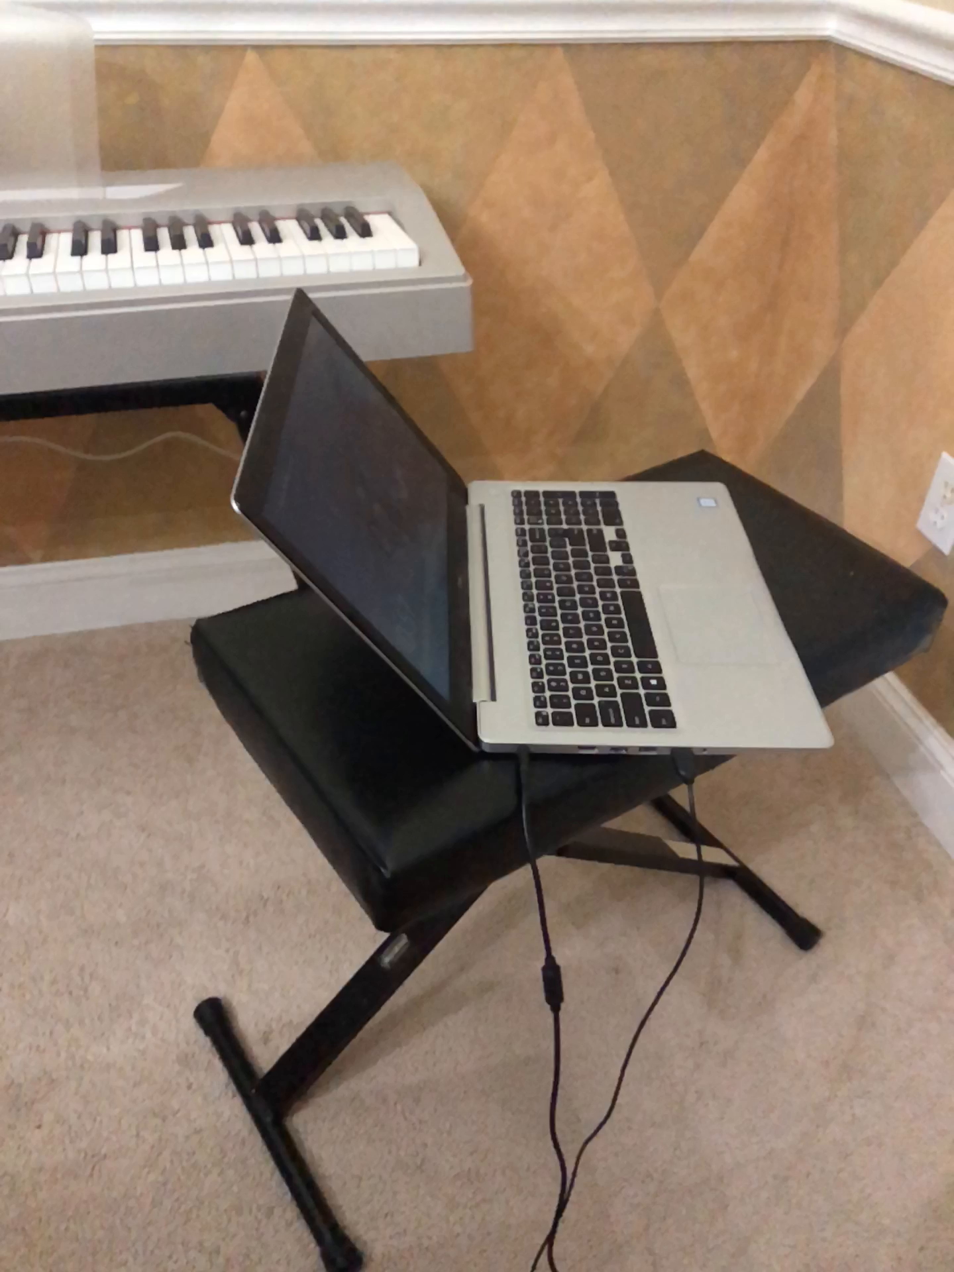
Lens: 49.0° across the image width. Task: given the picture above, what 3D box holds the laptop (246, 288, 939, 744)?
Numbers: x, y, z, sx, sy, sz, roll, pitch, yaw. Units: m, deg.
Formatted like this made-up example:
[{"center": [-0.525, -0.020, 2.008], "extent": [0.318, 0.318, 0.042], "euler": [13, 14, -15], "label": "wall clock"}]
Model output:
[{"center": [0.061, -0.112, 0.818], "extent": [0.408, 0.183, 0.377], "euler": [1, 37, -3], "label": "laptop"}]
